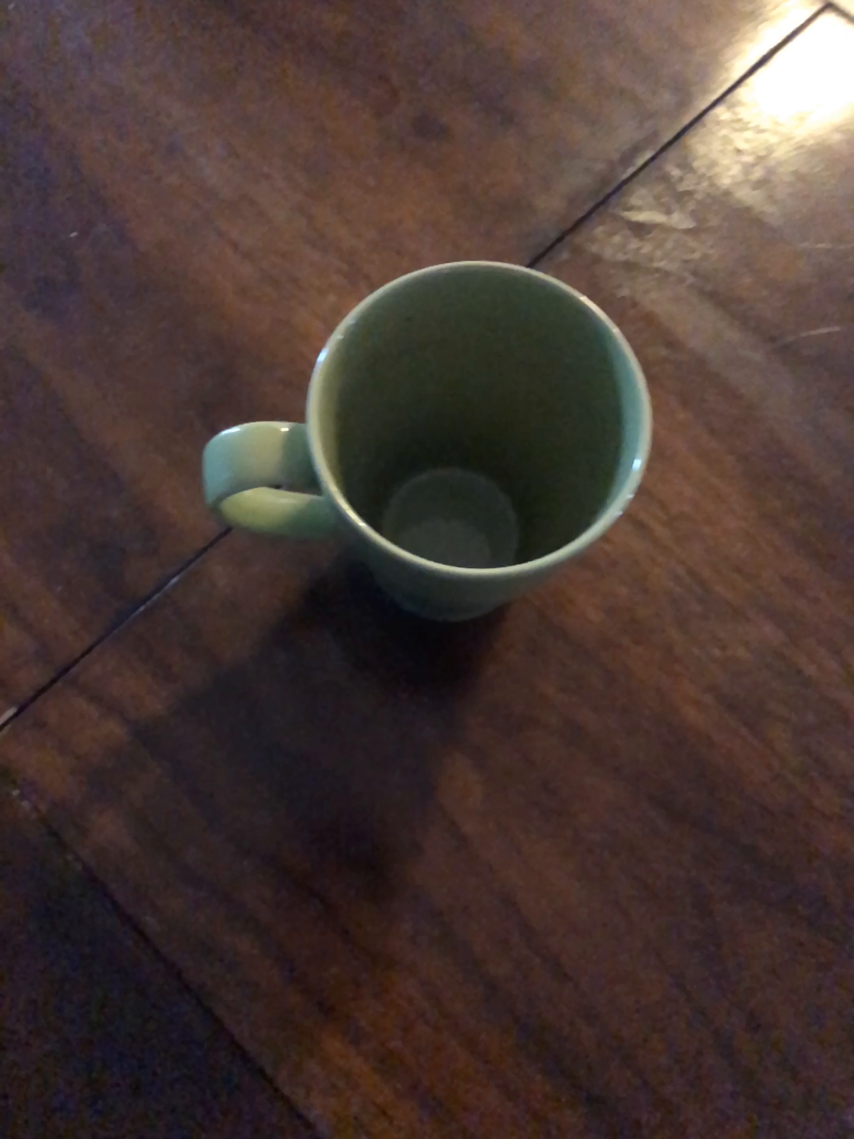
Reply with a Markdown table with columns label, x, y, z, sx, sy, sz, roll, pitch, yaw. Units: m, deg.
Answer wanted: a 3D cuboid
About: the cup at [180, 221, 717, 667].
| label | x | y | z | sx | sy | sz | roll | pitch | yaw |
| --- | --- | --- | --- | --- | --- | --- | --- | --- | --- |
| cup | 0.001 | -0.029 | 0.268 | 0.120 | 0.090 | 0.090 | -3 | 74 | -3 |
